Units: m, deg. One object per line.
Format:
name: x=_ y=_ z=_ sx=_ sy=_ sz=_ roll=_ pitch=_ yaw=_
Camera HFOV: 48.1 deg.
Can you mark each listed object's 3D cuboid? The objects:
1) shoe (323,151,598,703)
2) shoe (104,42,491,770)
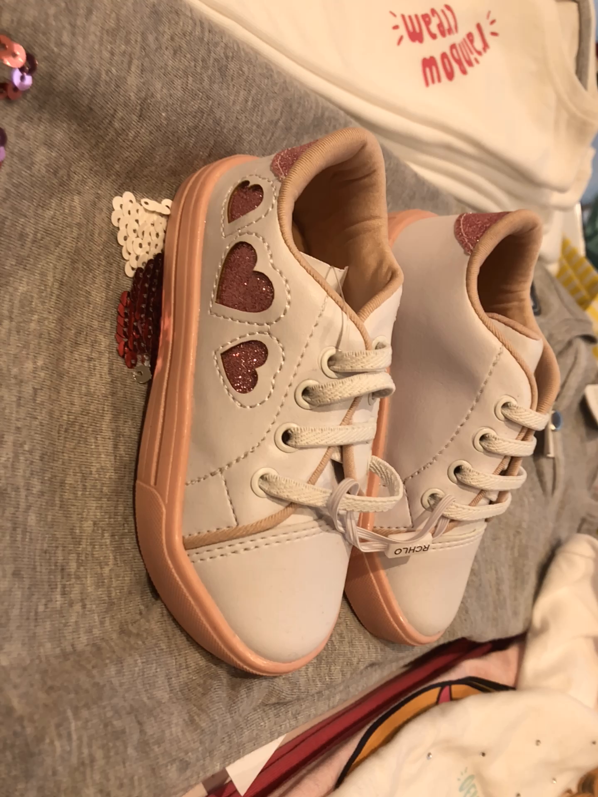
shoe: x=0.060 y=0.008 z=0.231 sx=0.071 sy=0.069 sz=0.150 roll=-3 pitch=90 yaw=-53
shoe: x=0.002 y=0.001 z=0.187 sx=0.071 sy=0.069 sz=0.150 roll=7 pitch=86 yaw=-53
